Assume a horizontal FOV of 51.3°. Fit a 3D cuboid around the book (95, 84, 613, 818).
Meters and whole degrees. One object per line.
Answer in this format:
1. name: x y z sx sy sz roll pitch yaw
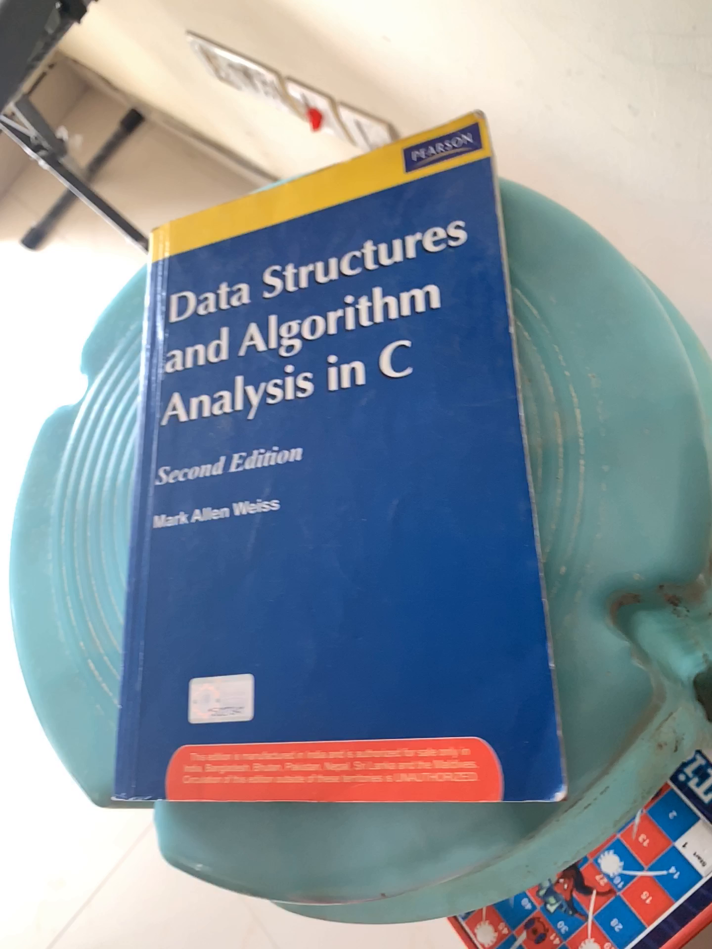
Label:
1. book: -0.011 -0.010 0.268 0.160 0.030 0.241 -10 69 21
